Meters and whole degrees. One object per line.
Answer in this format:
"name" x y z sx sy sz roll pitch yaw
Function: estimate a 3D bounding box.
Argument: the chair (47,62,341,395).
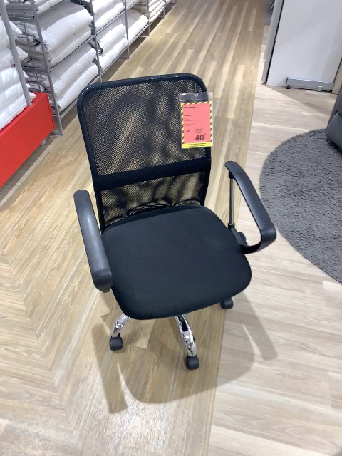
"chair" 0.021 0.015 1.188 0.640 0.866 0.603 -12 46 -14
